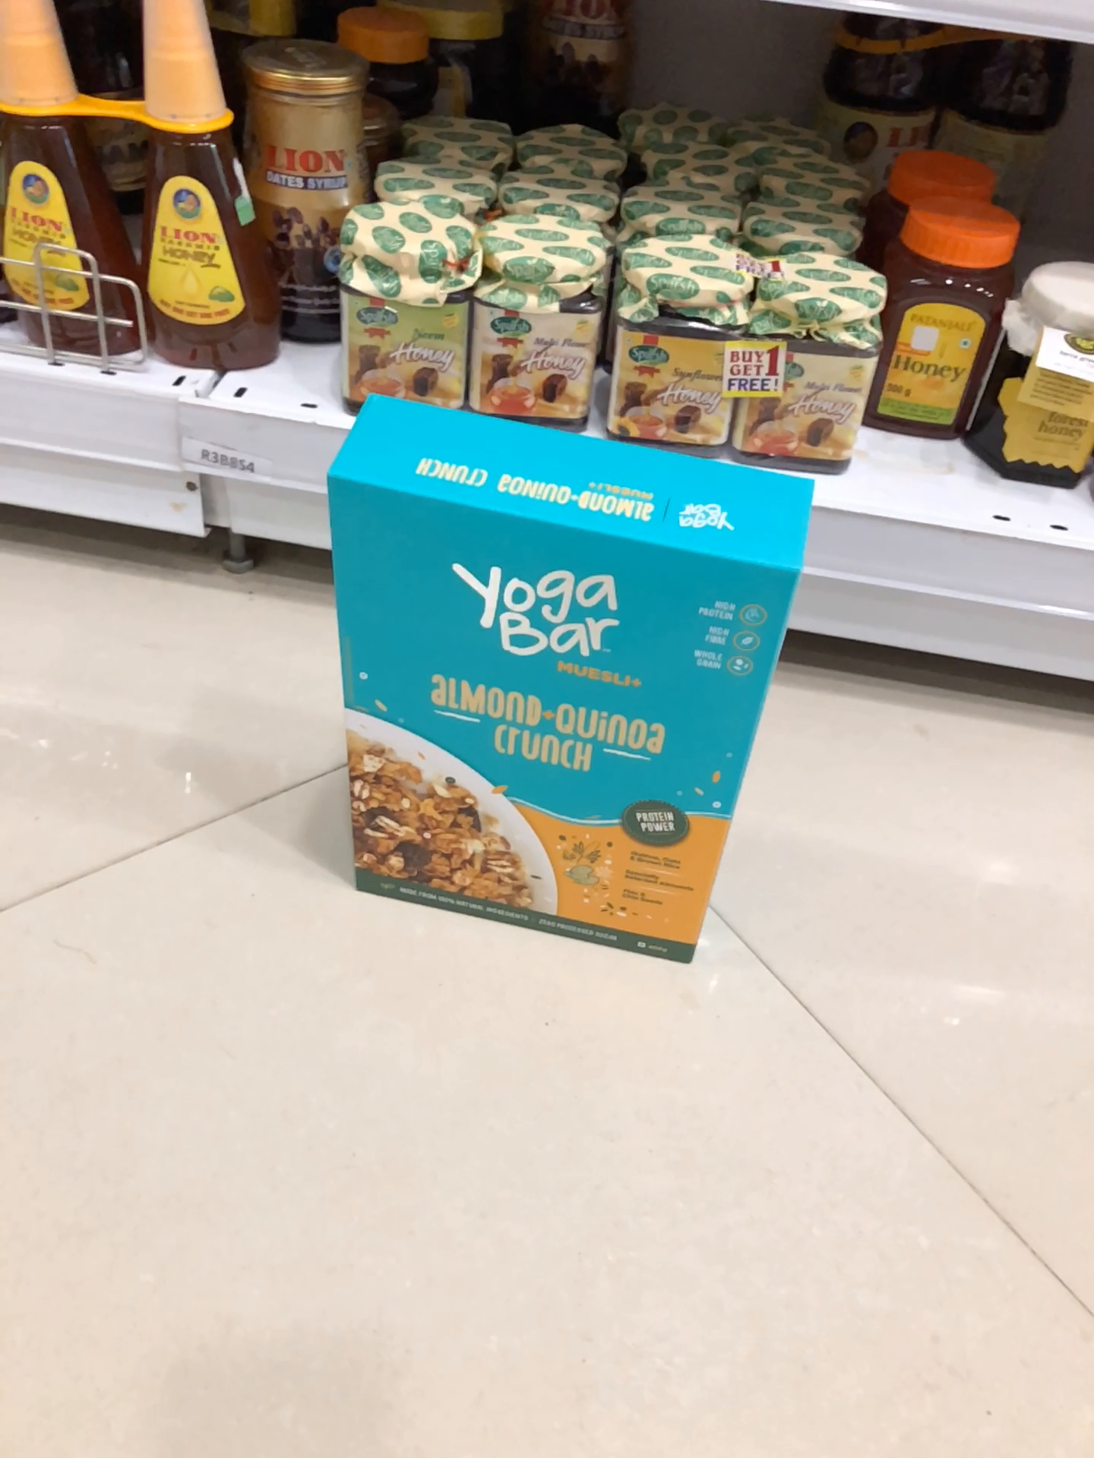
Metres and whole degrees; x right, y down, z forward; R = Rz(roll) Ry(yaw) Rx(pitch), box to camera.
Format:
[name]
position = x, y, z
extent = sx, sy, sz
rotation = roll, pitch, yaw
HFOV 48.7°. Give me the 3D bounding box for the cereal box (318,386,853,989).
[cereal box]
position = 0.008, -0.004, 0.480
extent = 0.170, 0.228, 0.060
rotation = 11, 45, 6
